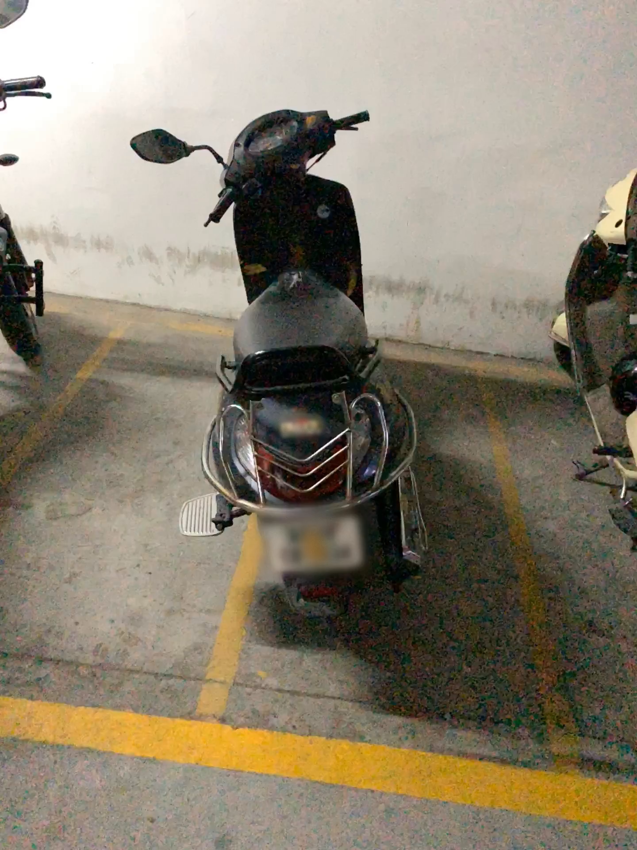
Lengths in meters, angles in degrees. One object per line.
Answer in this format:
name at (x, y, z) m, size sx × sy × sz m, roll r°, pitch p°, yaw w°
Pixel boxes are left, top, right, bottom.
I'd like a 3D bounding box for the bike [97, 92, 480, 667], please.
bike at (-0.168, -0.267, 2.085) m, size 0.652 × 1.239 × 1.540 m, roll 2°, pitch 33°, yaw -7°
